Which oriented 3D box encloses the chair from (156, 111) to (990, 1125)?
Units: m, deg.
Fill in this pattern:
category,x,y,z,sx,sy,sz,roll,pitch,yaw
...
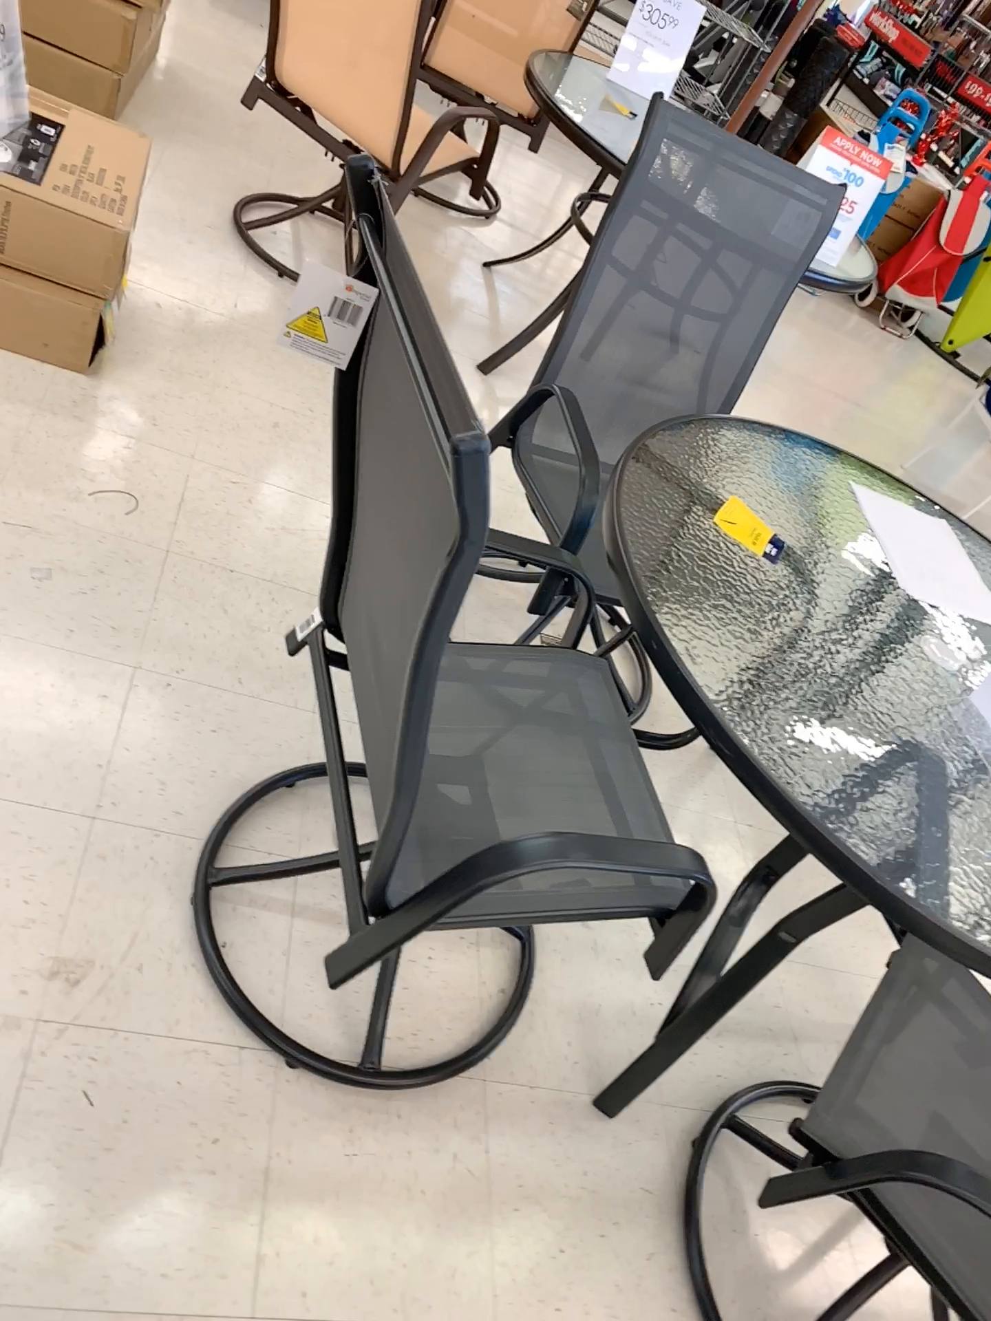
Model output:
category,x,y,z,sx,sy,sz,roll,pitch,yaw
chair,0.036,0.051,1.233,0.641,0.975,0.582,7,46,-29
